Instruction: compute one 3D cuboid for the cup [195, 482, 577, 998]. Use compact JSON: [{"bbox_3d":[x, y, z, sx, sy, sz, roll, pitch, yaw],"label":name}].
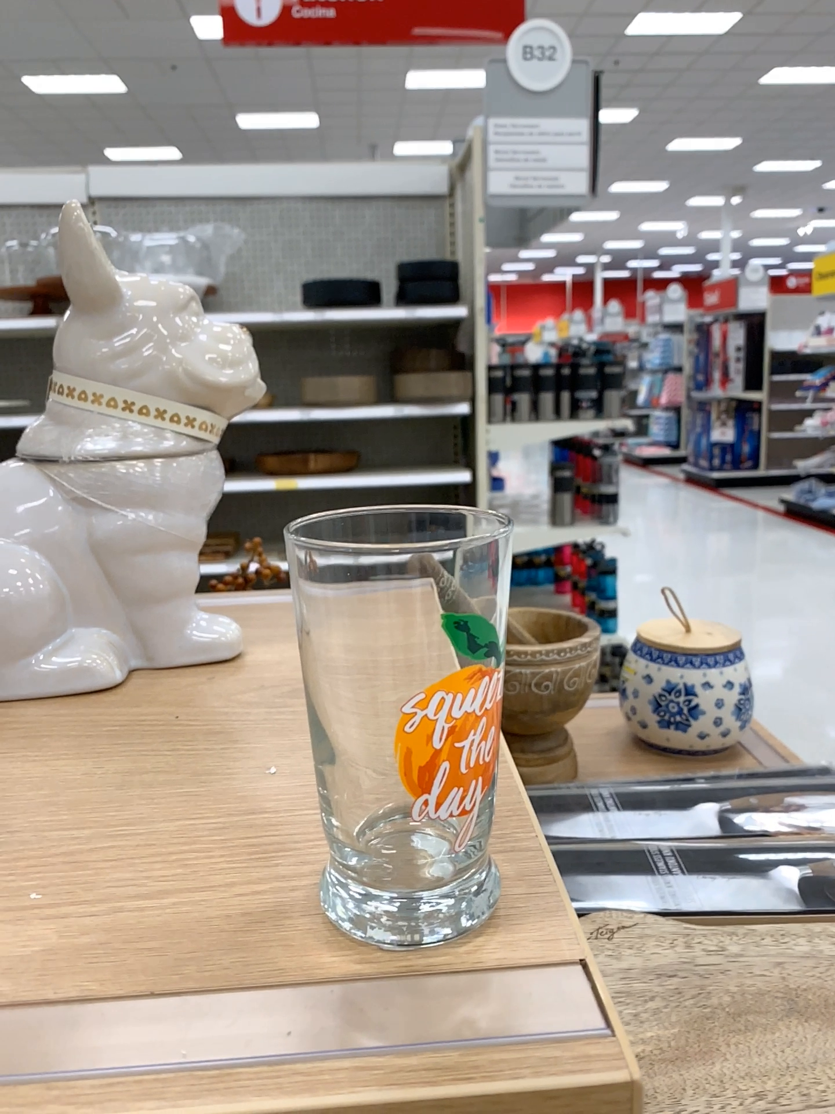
[{"bbox_3d":[-0.008,0.044,0.268,0.080,0.120,0.080,-2,12,0],"label":"cup"}]
